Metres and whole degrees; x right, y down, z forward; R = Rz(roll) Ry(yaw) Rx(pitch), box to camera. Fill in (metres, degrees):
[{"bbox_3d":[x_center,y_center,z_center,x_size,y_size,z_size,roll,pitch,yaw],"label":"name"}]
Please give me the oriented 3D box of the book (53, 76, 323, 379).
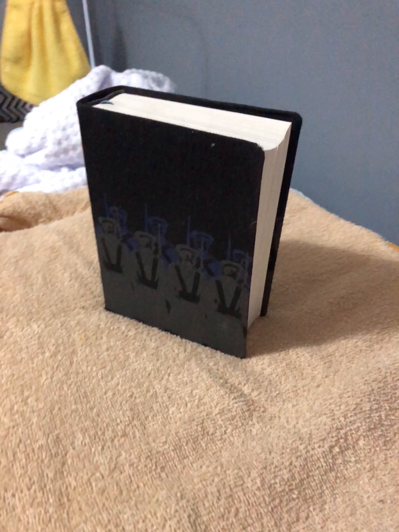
[{"bbox_3d":[-0.009,-0.026,0.318,0.150,0.179,0.060,16,39,19],"label":"book"}]
